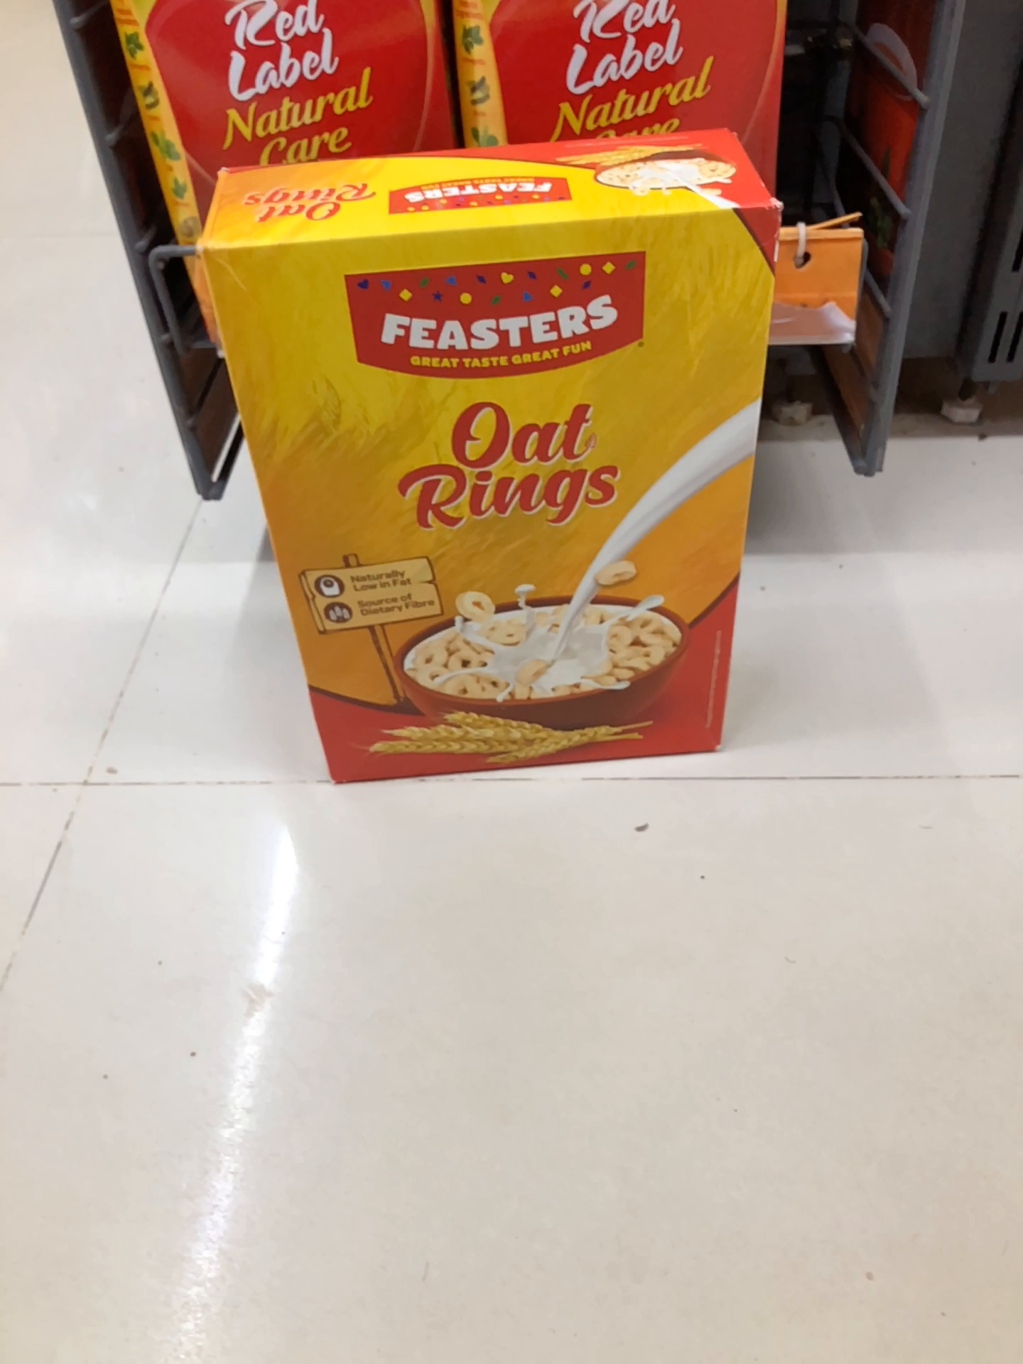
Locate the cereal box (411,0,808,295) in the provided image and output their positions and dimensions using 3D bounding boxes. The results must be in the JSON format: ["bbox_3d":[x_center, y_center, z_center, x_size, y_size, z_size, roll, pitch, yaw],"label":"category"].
[{"bbox_3d":[0.031,-0.239,0.427,0.120,0.149,0.081,-6,43,-3],"label":"cereal box"}]

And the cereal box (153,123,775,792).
[{"bbox_3d":[-0.010,-0.068,0.410,0.170,0.218,0.070,-5,43,-2],"label":"cereal box"}]

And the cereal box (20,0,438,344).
[{"bbox_3d":[-0.098,-0.236,0.457,0.120,0.169,0.081,-3,43,1],"label":"cereal box"}]
